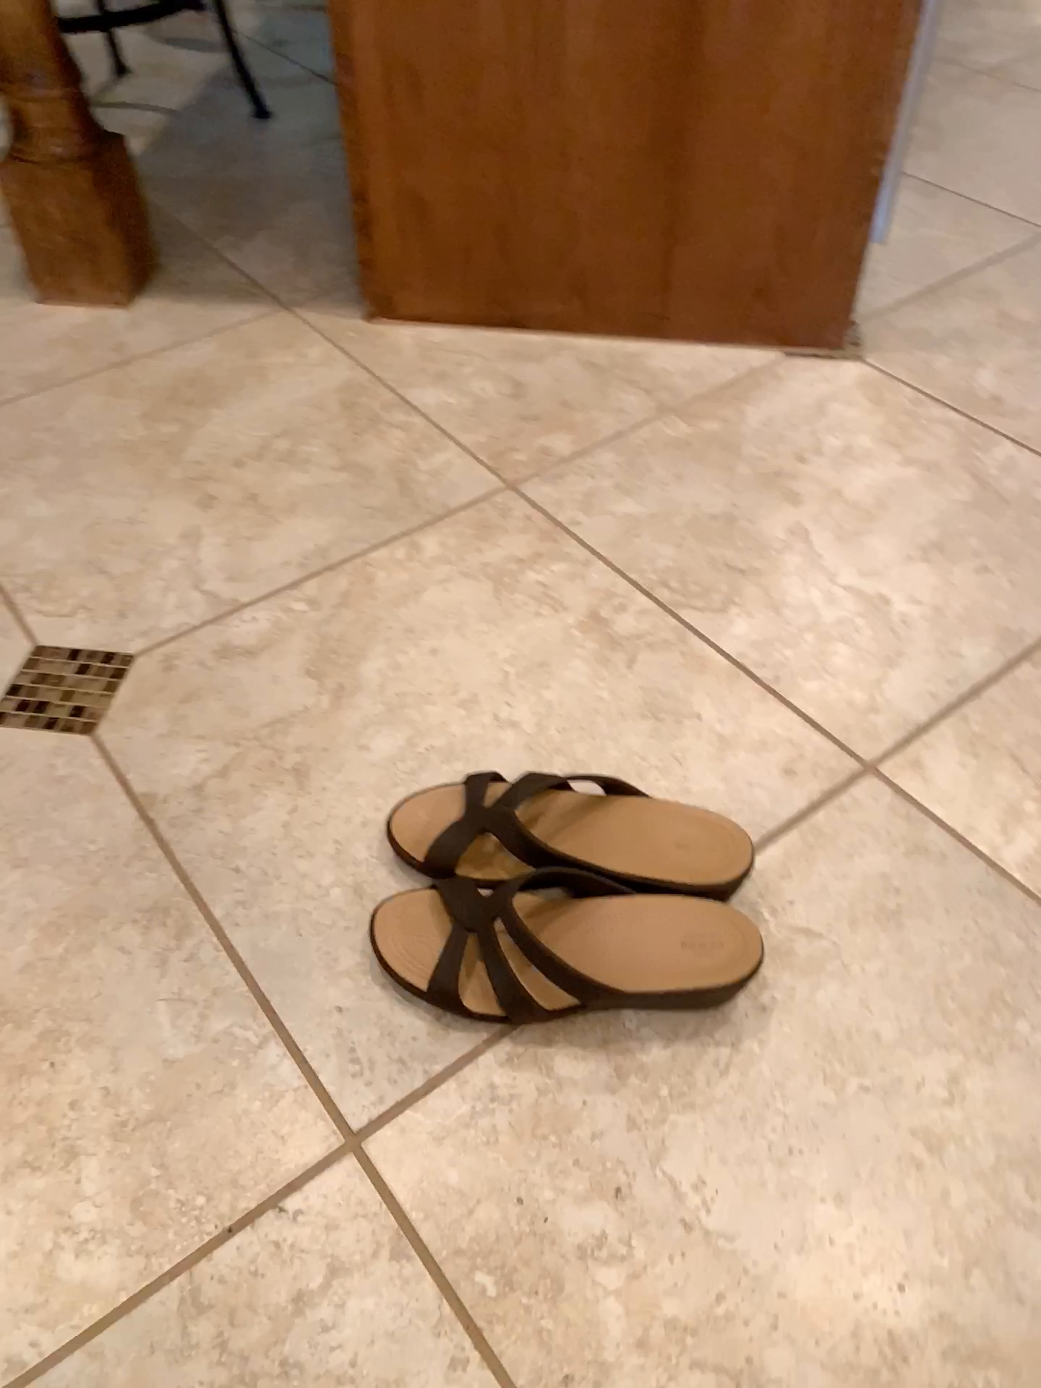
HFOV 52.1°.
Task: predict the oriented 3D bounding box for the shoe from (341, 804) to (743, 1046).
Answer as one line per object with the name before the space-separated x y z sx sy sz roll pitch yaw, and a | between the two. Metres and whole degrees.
shoe | 0.019 0.164 0.764 0.264 0.092 0.110 5 47 6

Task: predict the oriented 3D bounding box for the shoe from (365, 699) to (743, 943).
shoe | 0.028 0.093 0.805 0.258 0.092 0.110 8 47 9
